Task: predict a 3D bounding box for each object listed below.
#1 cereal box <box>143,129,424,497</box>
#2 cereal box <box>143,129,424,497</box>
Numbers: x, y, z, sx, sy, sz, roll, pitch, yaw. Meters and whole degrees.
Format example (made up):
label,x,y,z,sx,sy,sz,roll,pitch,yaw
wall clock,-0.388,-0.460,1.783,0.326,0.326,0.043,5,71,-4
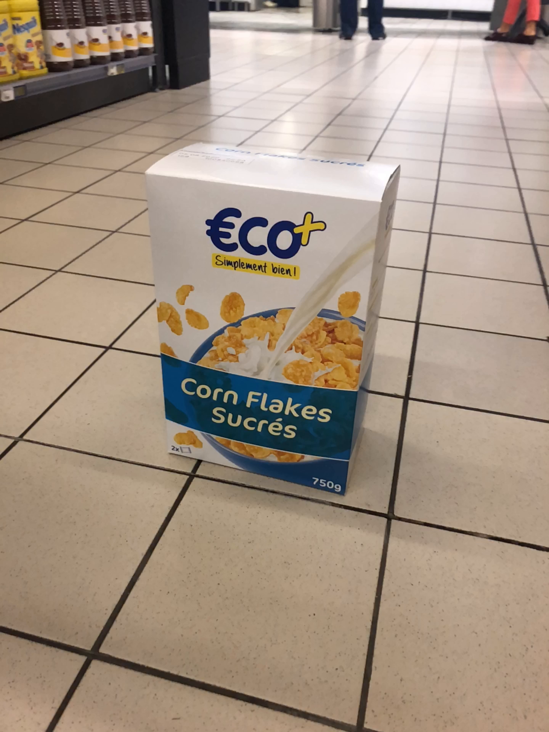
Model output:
label,x,y,z,sx,sy,sz,roll,pitch,yaw
cereal box,0.009,-0.053,0.586,0.210,0.298,0.131,11,31,14
cereal box,0.009,-0.053,0.586,0.210,0.298,0.131,11,31,14
